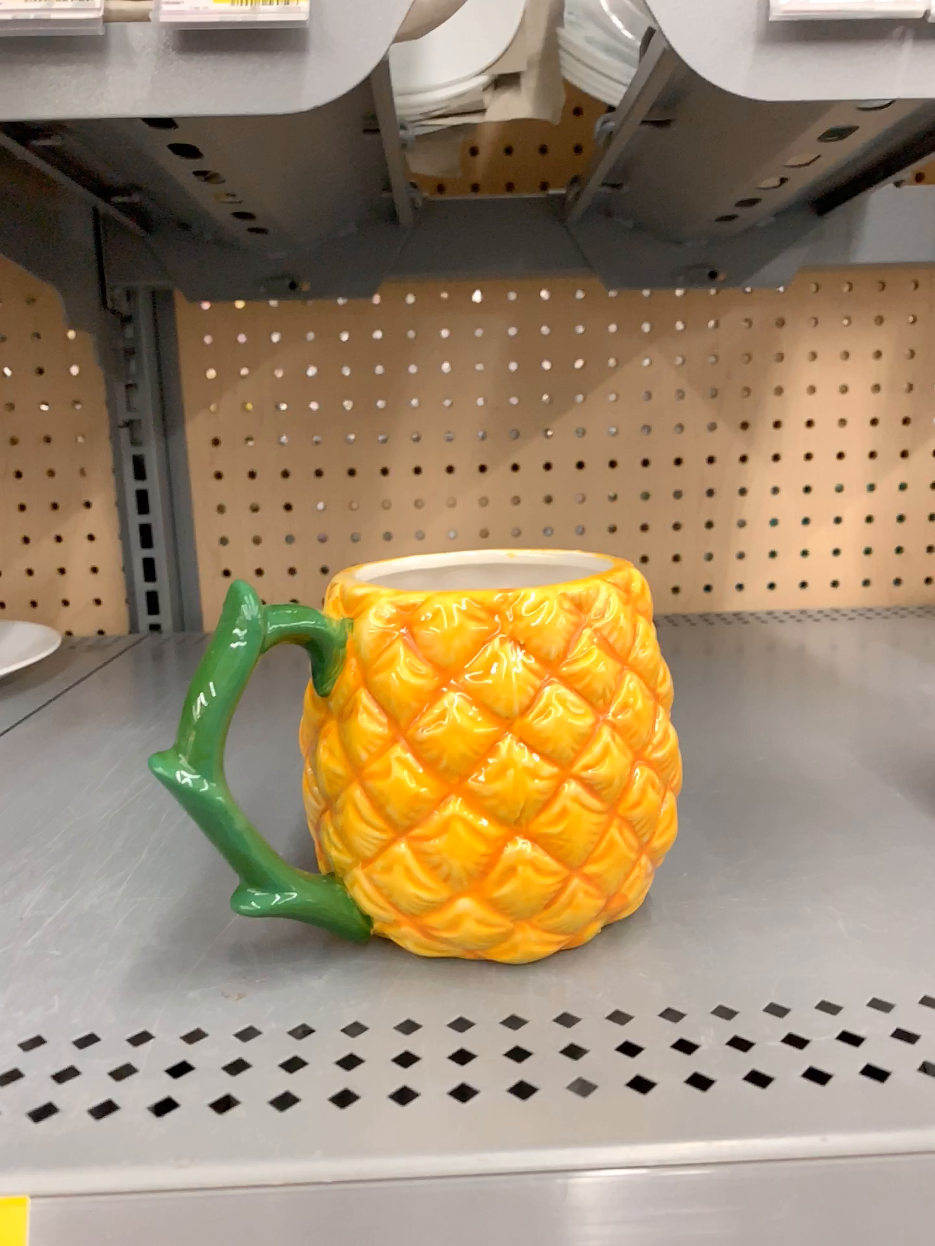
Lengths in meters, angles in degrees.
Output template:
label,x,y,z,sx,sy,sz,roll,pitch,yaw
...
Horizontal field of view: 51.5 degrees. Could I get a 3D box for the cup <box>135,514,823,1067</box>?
label,x,y,z,sx,sy,sz,roll,pitch,yaw
cup,0.001,0.028,0.273,0.160,0.100,0.100,-7,12,-24
